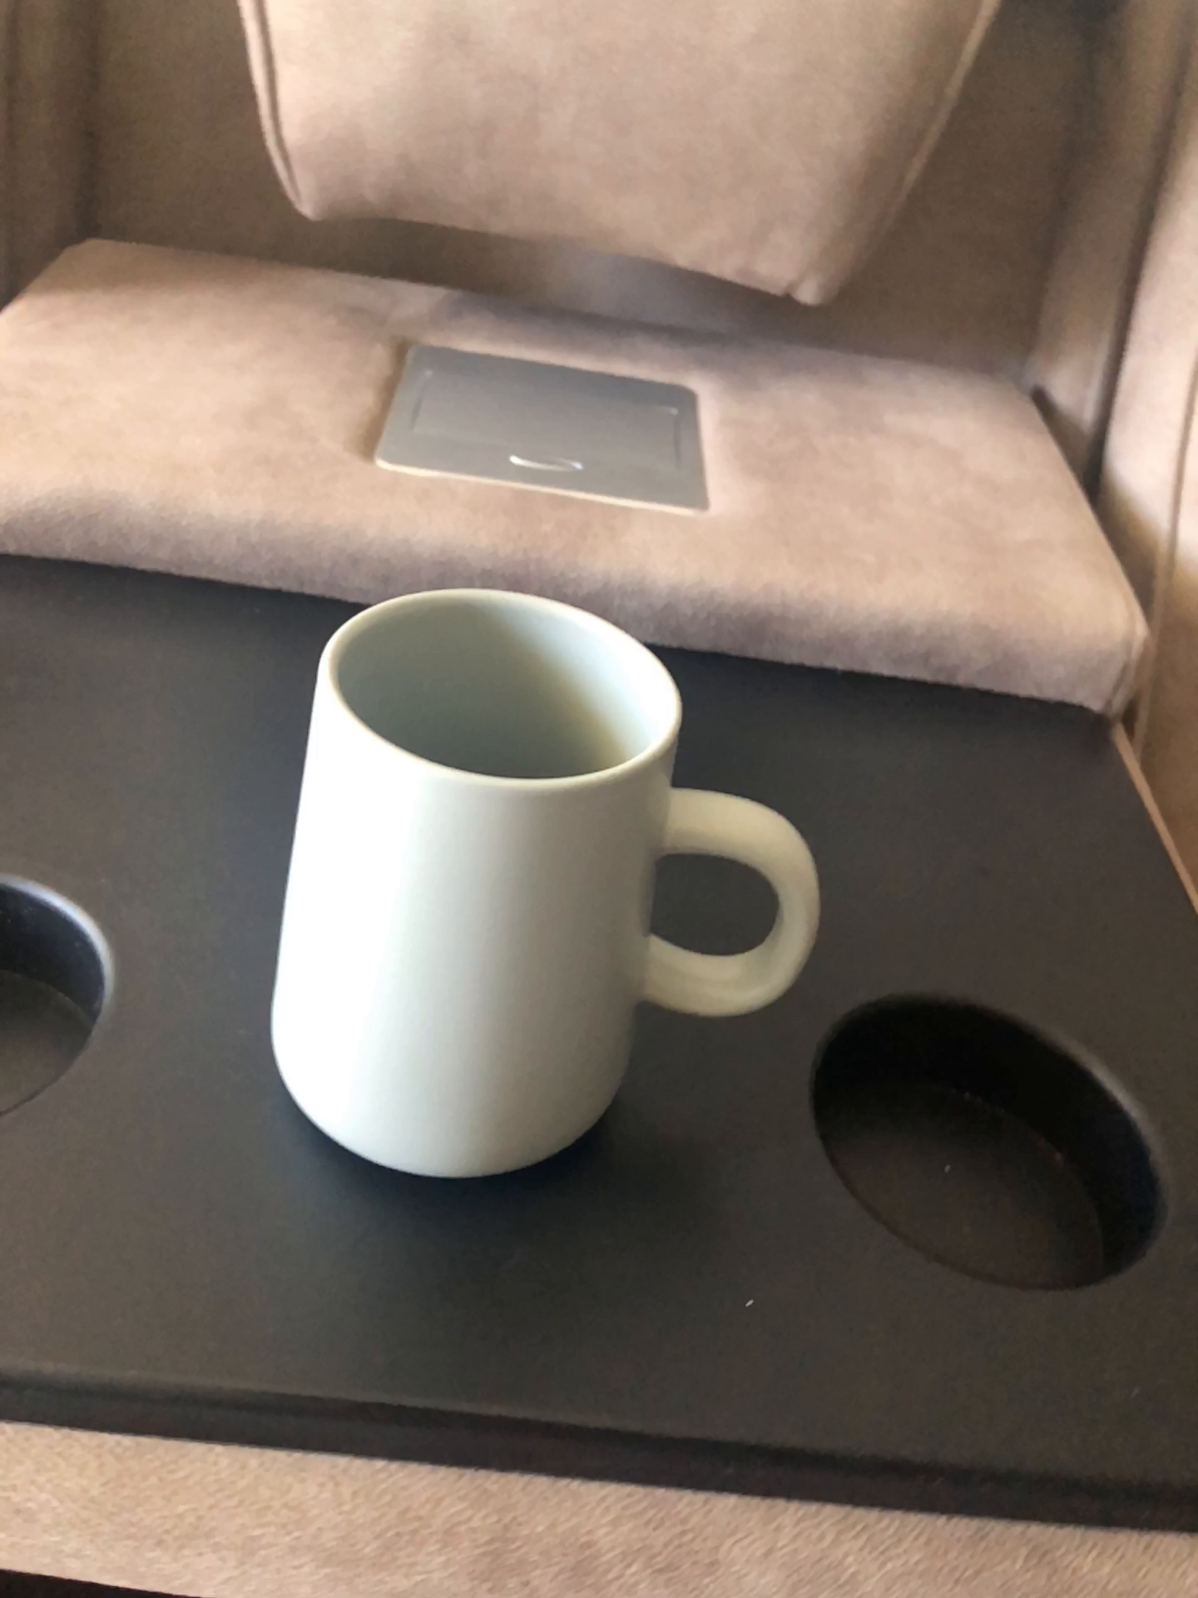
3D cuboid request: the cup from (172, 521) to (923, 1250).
[{"bbox_3d":[-0.014,0.022,0.310,0.136,0.121,0.087,10,39,-1],"label":"cup"}]
